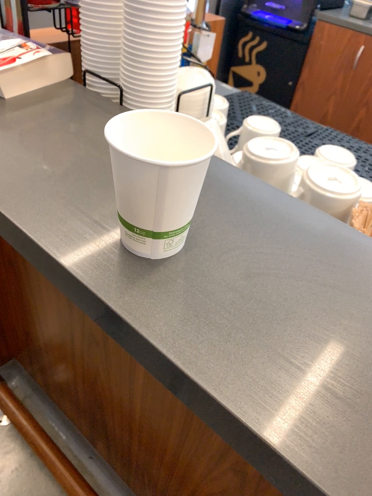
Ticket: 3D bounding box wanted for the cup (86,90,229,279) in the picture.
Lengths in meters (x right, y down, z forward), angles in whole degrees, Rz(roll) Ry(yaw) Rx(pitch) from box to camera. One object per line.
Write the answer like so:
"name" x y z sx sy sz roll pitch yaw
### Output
"cup" -0.027 -0.055 0.336 0.080 0.119 0.080 6 42 -5
